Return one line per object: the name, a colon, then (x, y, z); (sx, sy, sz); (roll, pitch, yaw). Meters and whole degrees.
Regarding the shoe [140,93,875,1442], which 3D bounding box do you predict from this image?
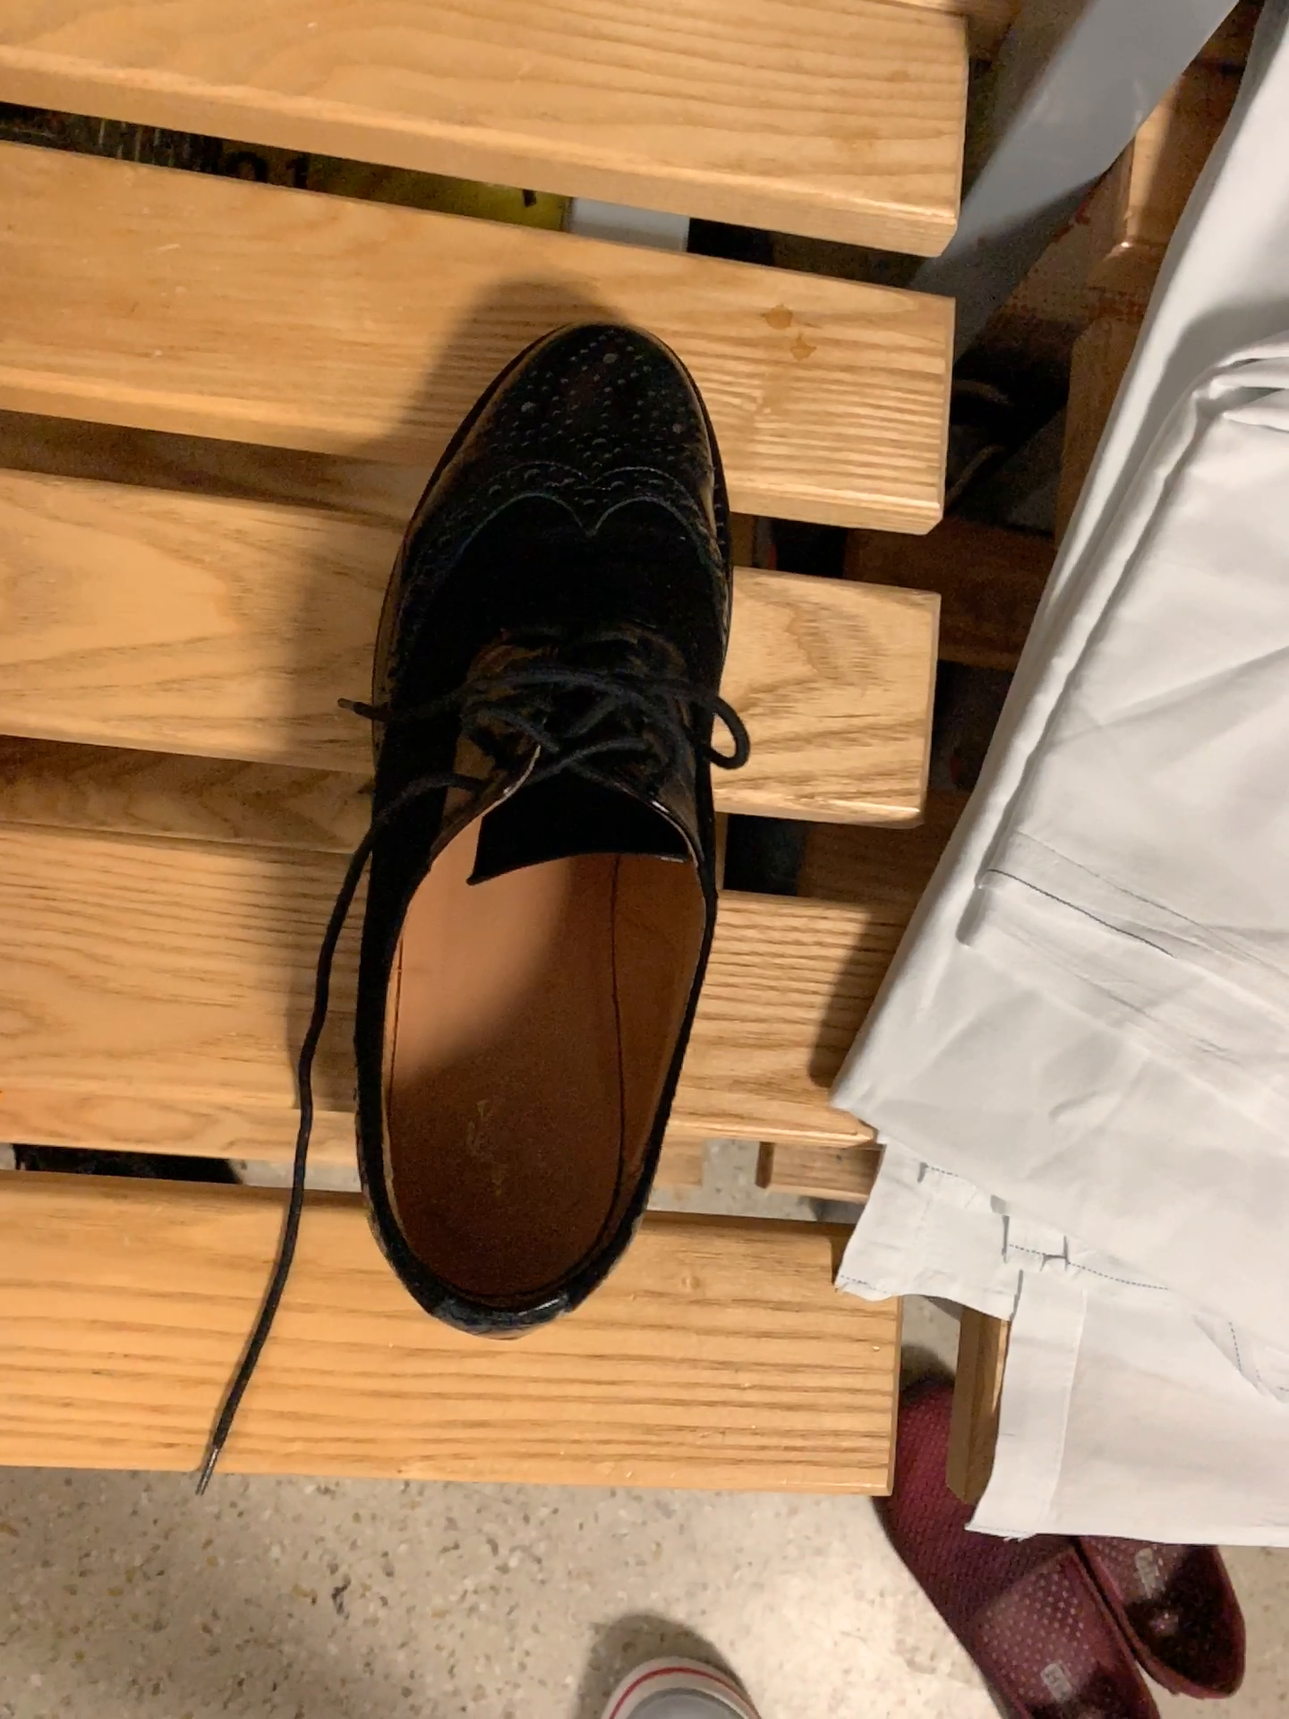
shoe: (-0.027, -0.018, 0.303); (0.099, 0.095, 0.250); (10, 82, -6)
